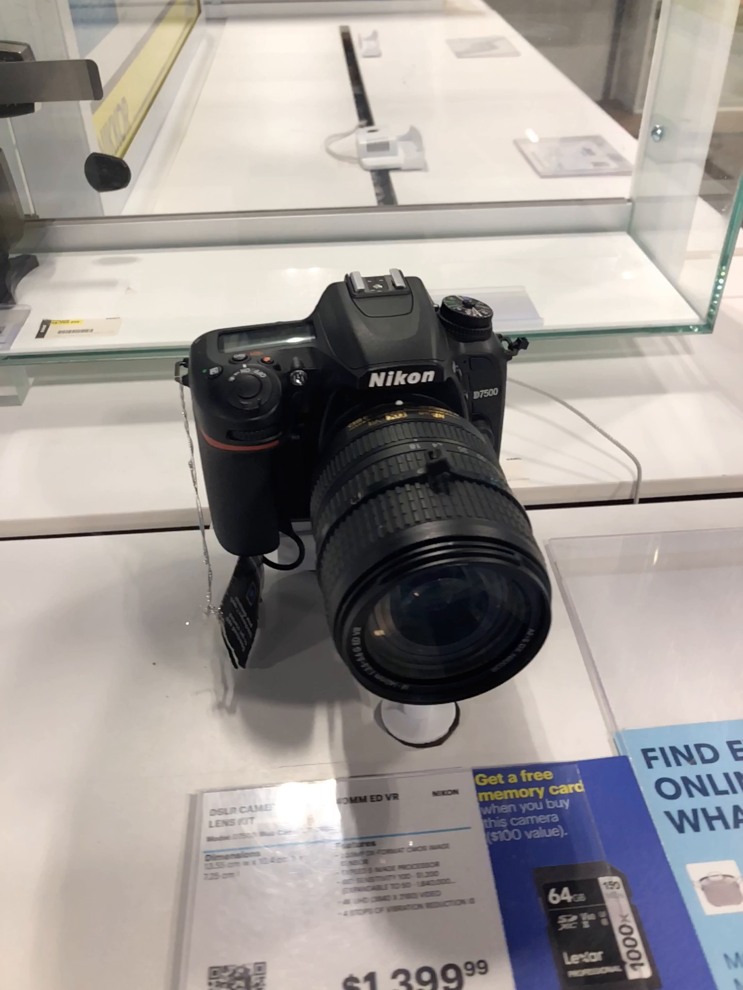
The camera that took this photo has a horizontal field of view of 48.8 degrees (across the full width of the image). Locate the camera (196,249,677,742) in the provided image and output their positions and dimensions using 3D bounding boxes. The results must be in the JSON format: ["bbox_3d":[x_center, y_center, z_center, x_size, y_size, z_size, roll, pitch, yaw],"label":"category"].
[{"bbox_3d":[0.006,-0.017,0.335,0.140,0.089,0.191,-6,38,-7],"label":"camera"}]
